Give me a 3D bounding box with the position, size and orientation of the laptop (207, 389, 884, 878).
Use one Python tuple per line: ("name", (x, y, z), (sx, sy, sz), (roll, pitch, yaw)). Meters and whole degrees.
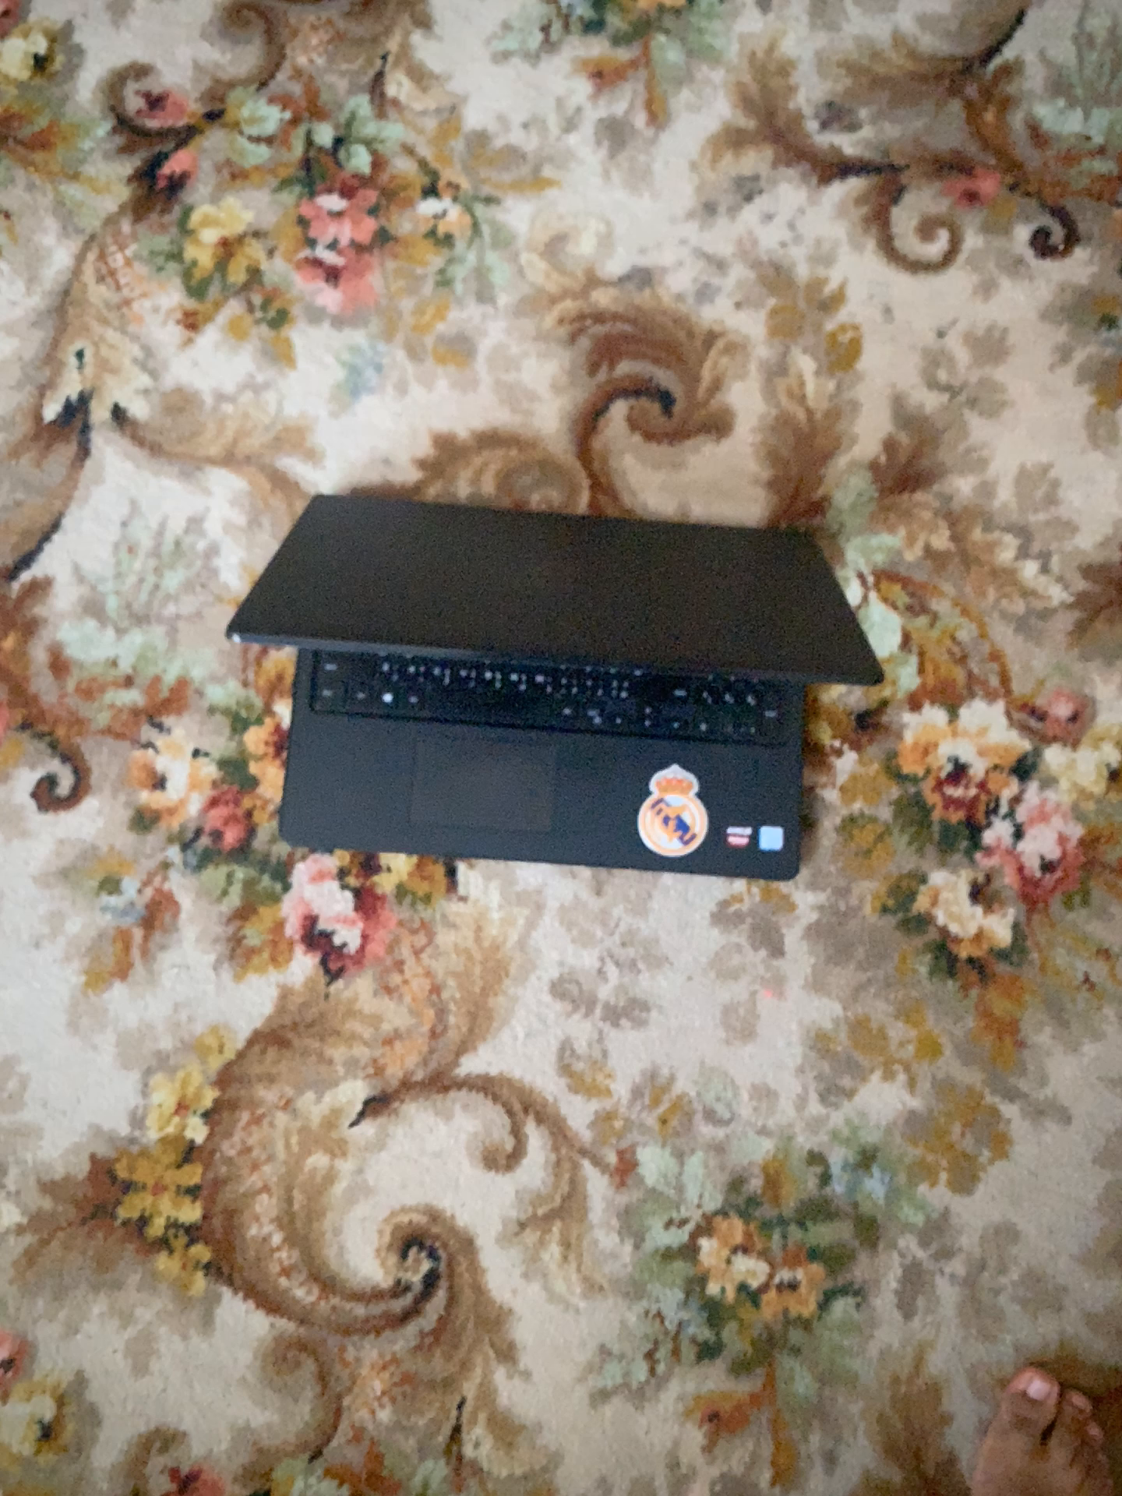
("laptop", (-0.004, -0.056, 0.747), (0.366, 0.194, 0.251), (4, 81, -2))
